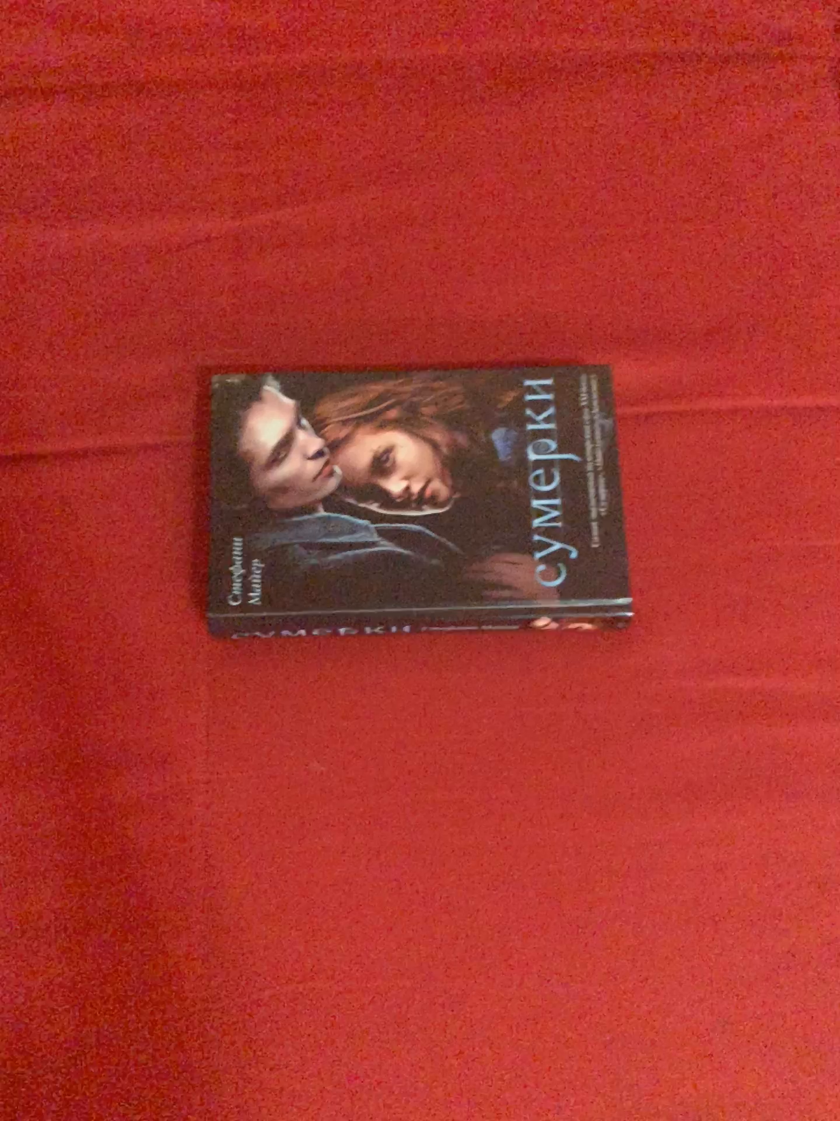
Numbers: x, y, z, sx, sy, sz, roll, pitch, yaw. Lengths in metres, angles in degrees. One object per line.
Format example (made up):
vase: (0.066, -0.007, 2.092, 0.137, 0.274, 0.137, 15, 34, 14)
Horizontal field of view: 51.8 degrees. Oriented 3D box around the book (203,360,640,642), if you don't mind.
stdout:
book: (-0.001, -0.029, 0.442, 0.209, 0.036, 0.134, -1, 80, -1)
